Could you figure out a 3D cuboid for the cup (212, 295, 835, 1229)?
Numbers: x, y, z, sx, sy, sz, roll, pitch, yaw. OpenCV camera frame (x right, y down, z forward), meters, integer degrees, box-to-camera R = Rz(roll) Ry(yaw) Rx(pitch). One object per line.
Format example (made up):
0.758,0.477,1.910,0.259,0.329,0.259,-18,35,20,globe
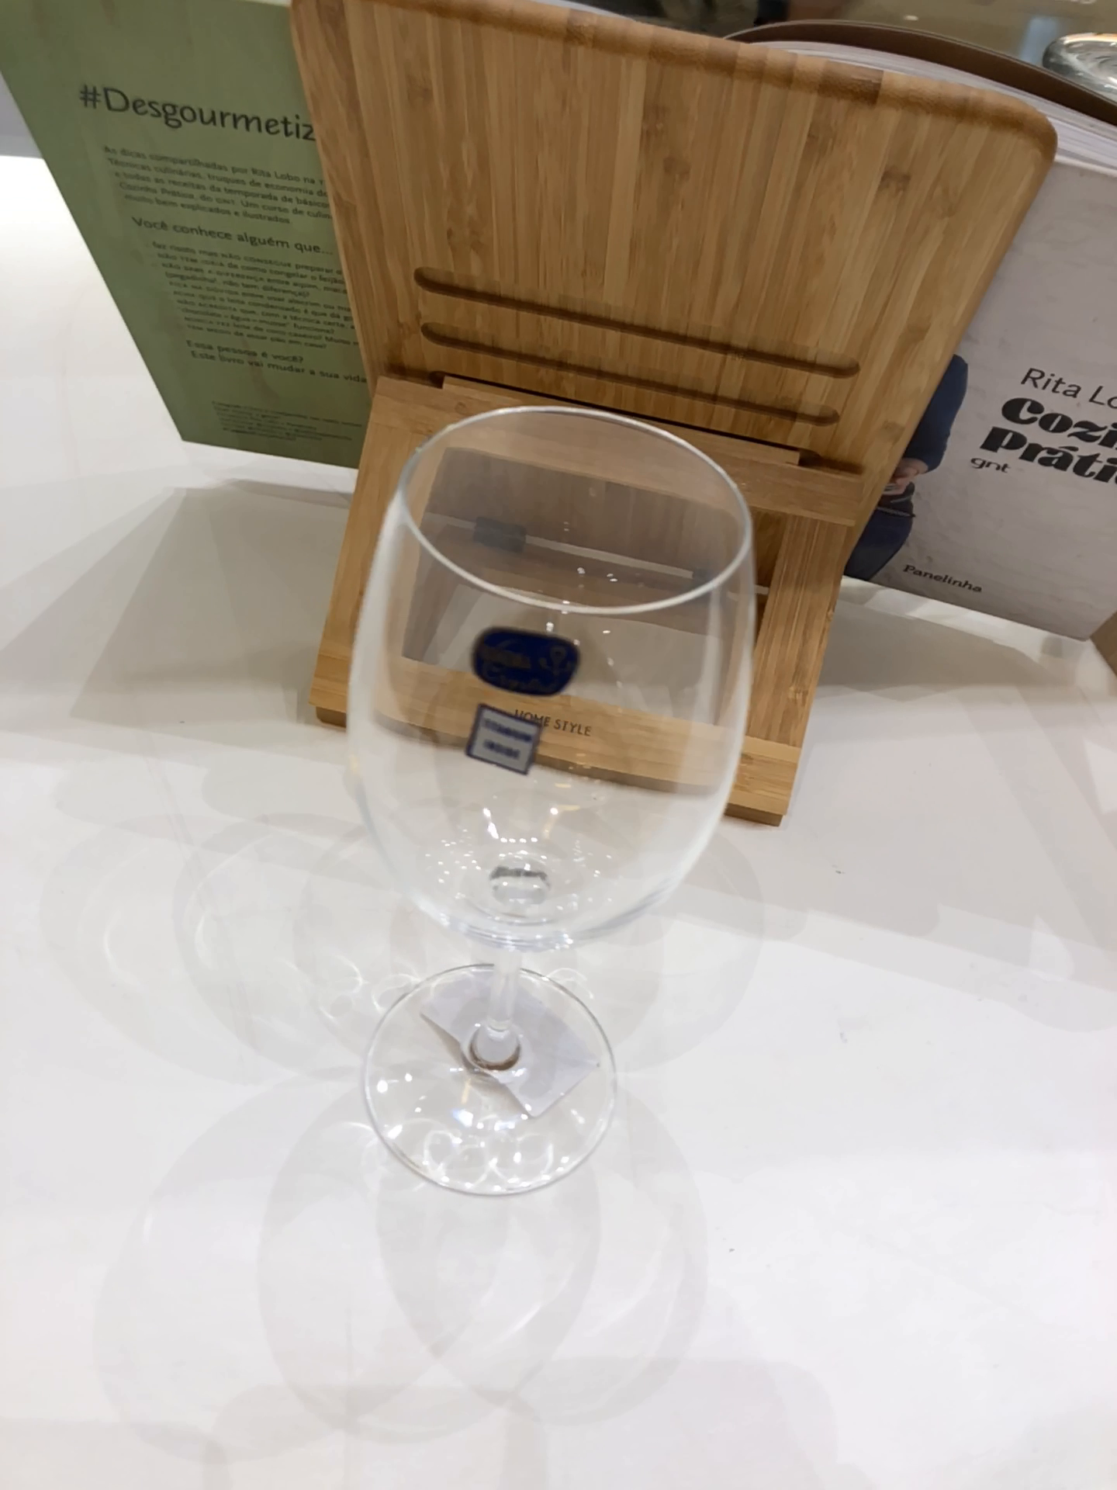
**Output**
-0.020,0.026,0.312,0.100,0.238,0.091,3,44,-7,cup
